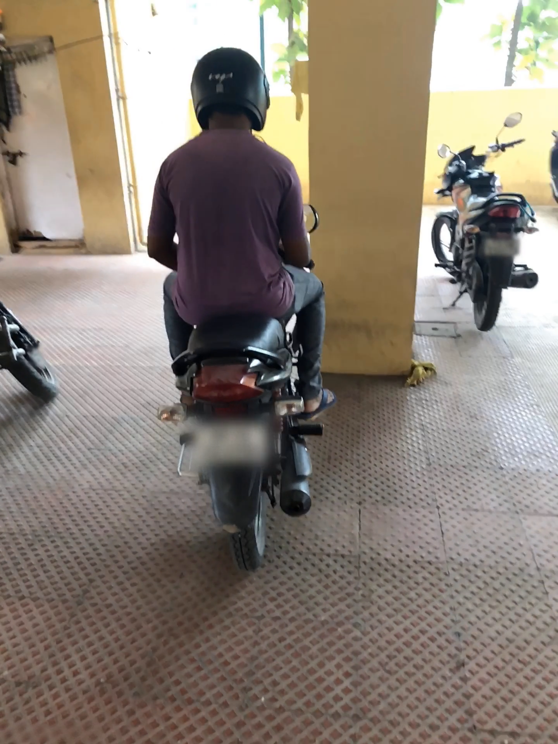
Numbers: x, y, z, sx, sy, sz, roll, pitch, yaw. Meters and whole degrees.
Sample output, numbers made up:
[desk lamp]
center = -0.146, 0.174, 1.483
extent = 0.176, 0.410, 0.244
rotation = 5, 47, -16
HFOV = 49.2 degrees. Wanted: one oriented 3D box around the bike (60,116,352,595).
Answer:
[bike]
center = -0.086, -0.249, 2.376
extent = 0.631, 1.063, 1.655
rotation = 2, 31, 8
